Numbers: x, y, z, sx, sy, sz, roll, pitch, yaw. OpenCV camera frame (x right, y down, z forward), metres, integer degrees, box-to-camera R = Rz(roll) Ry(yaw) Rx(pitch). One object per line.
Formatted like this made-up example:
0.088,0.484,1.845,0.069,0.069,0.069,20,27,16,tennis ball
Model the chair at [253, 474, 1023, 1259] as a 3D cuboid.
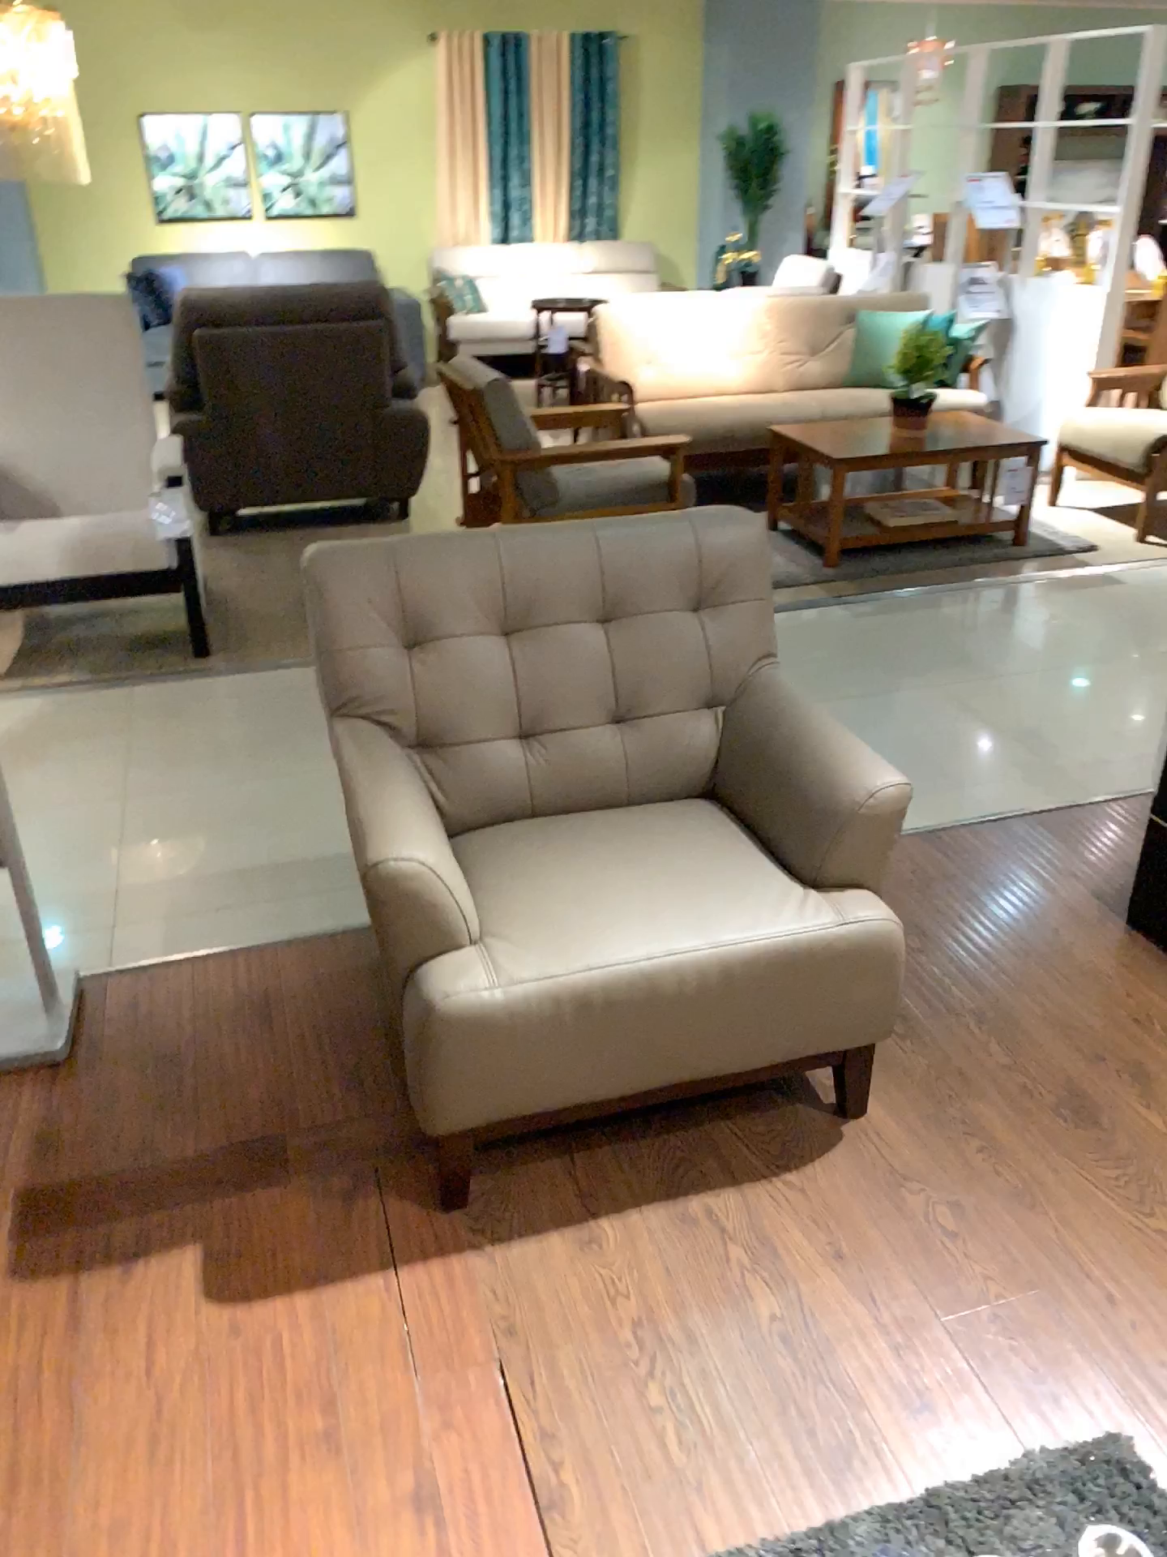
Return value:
-0.010,0.036,2.094,0.950,0.856,1.004,-8,28,-16,chair
